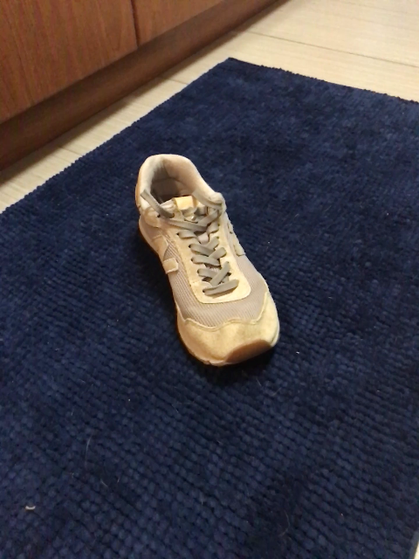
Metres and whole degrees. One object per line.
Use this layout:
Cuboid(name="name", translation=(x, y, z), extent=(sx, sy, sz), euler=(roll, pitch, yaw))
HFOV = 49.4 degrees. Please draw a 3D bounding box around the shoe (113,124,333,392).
Cuboid(name="shoe", translation=(-0.005, -0.044, 0.485), extent=(0.130, 0.099, 0.281), euler=(-14, 48, -12))
